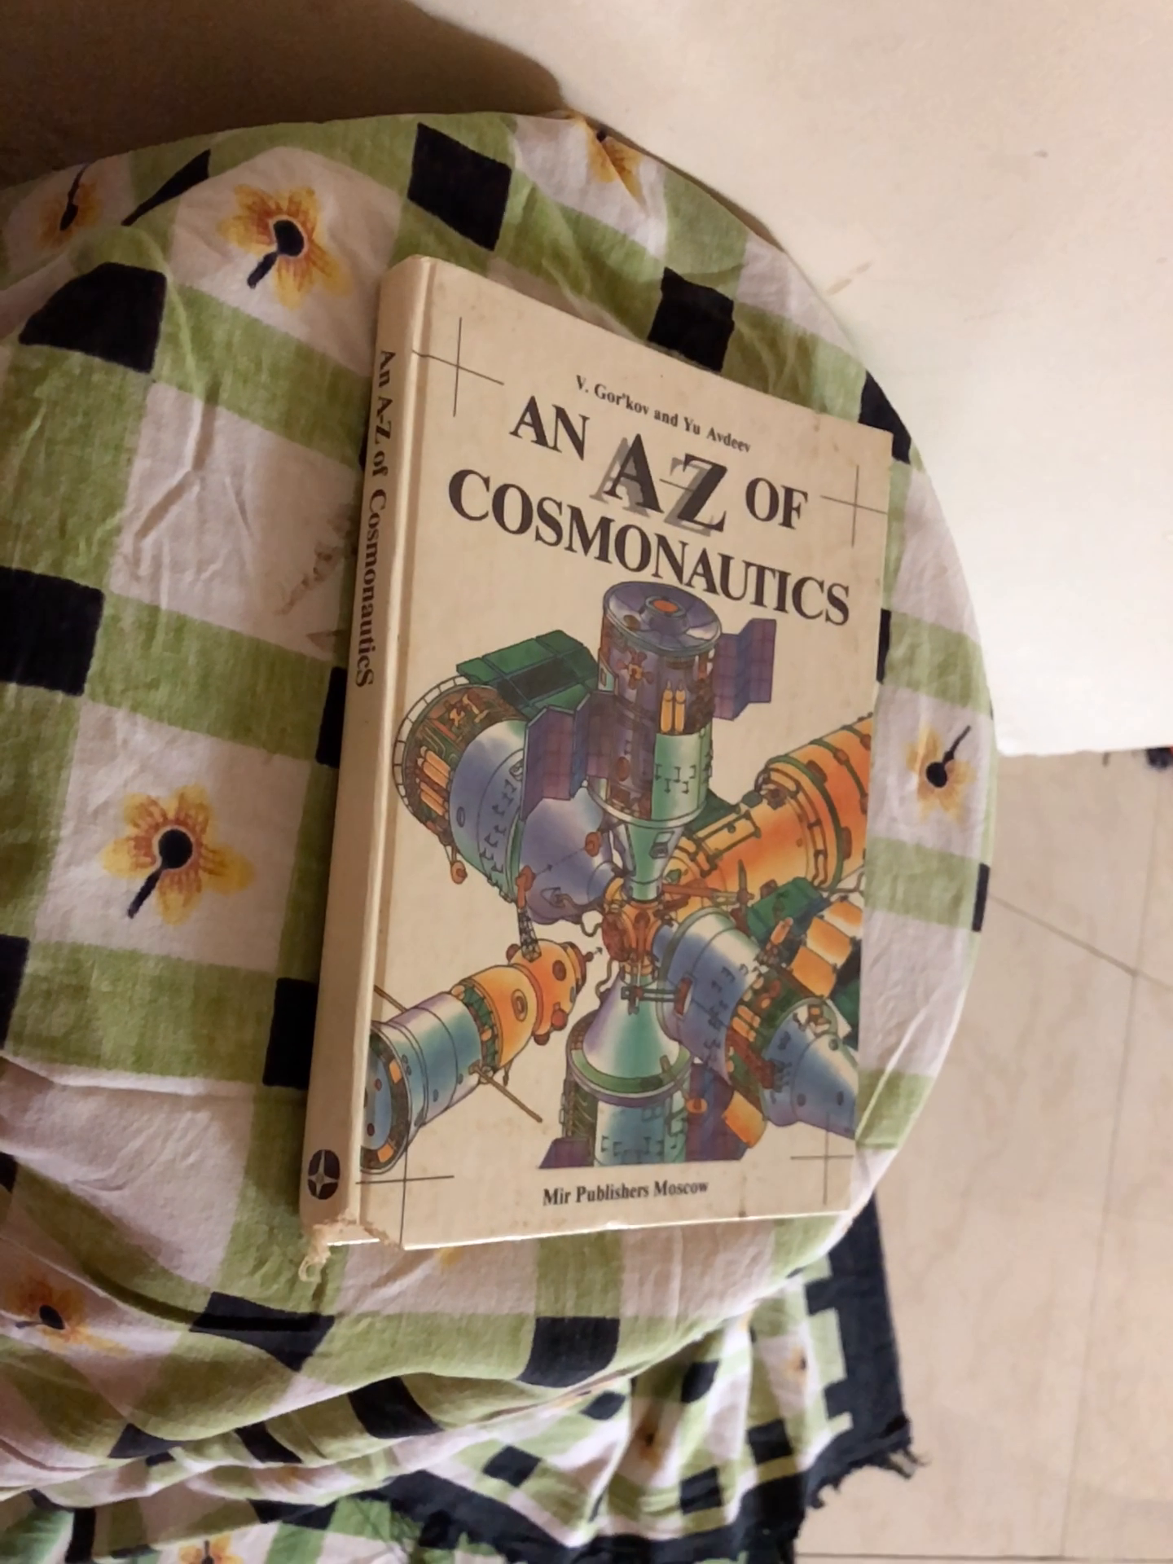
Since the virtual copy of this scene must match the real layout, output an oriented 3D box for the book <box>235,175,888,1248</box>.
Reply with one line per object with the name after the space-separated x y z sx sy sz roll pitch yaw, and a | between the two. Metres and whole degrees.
0.005 -0.010 0.400 0.181 0.060 0.270 10 80 -37 | book
